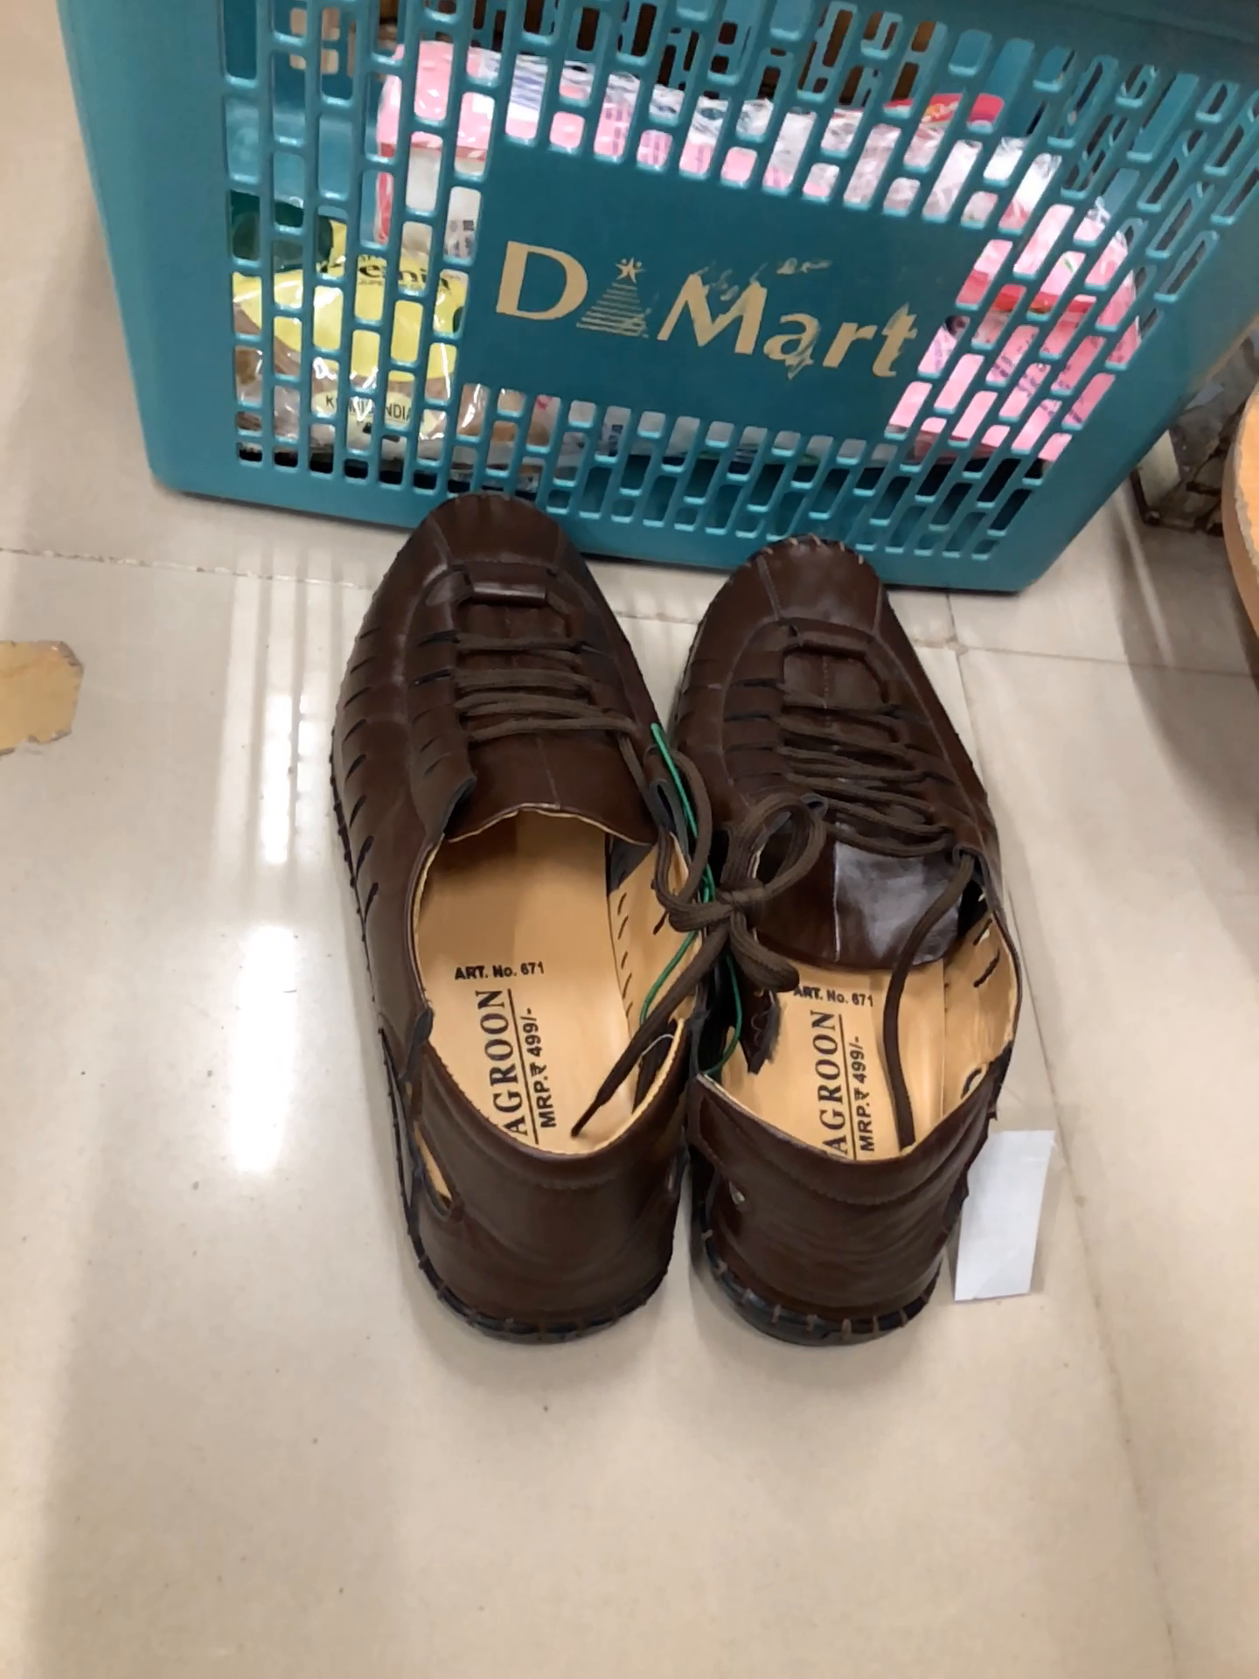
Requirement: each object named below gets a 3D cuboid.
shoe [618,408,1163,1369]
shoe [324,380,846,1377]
[{"bbox_3d":[0.070,0.008,0.436,0.112,0.101,0.273,9,58,-9],"label":"shoe"},{"bbox_3d":[-0.031,0.002,0.415,0.107,0.101,0.273,-1,60,-15],"label":"shoe"}]
